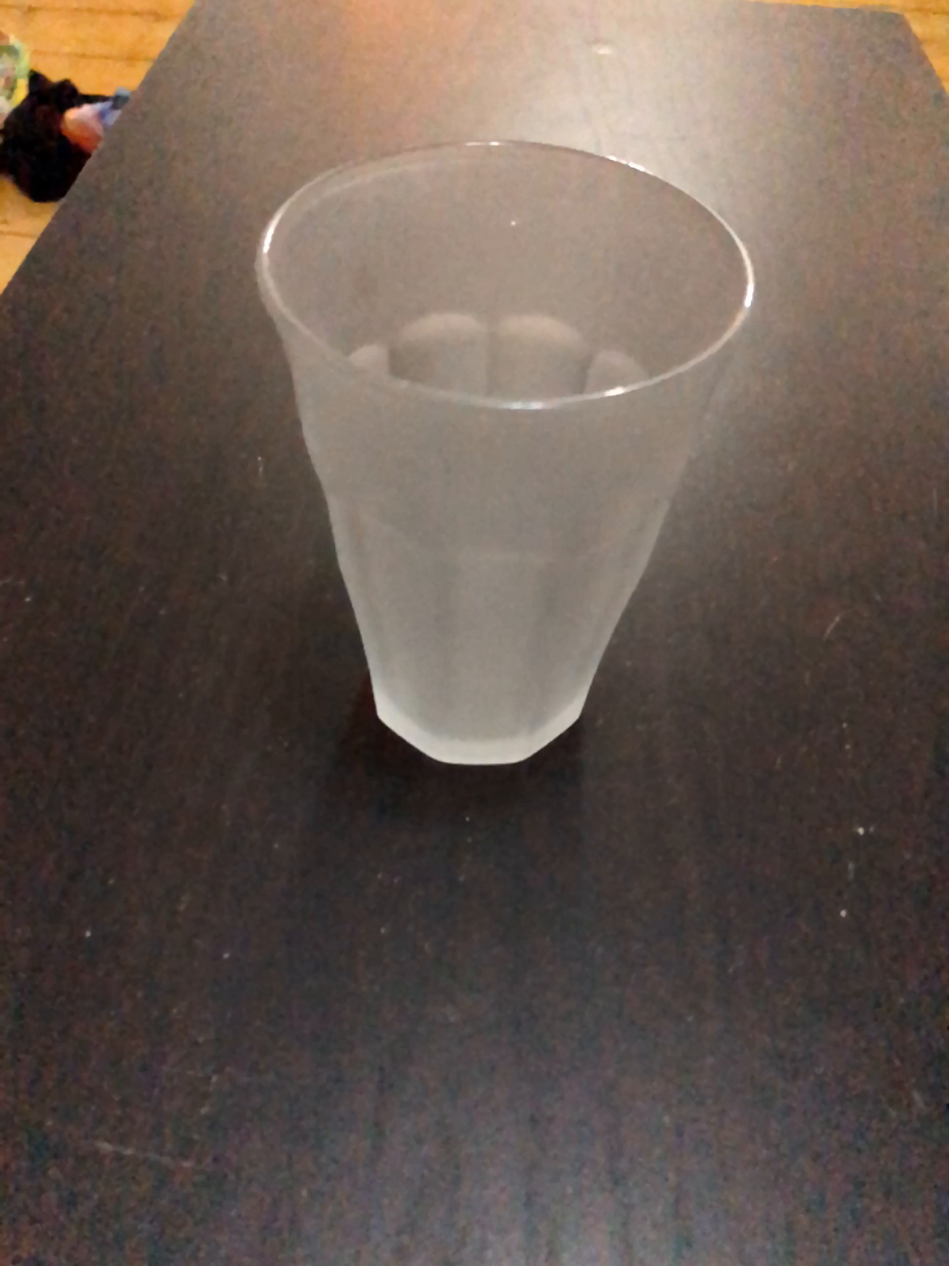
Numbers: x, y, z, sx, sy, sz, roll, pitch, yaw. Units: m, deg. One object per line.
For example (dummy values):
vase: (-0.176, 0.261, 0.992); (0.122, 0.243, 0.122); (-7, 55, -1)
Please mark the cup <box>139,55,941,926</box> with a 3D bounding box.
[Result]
cup: (0.008, -0.028, 0.224); (0.100, 0.129, 0.090); (-31, 58, -26)
